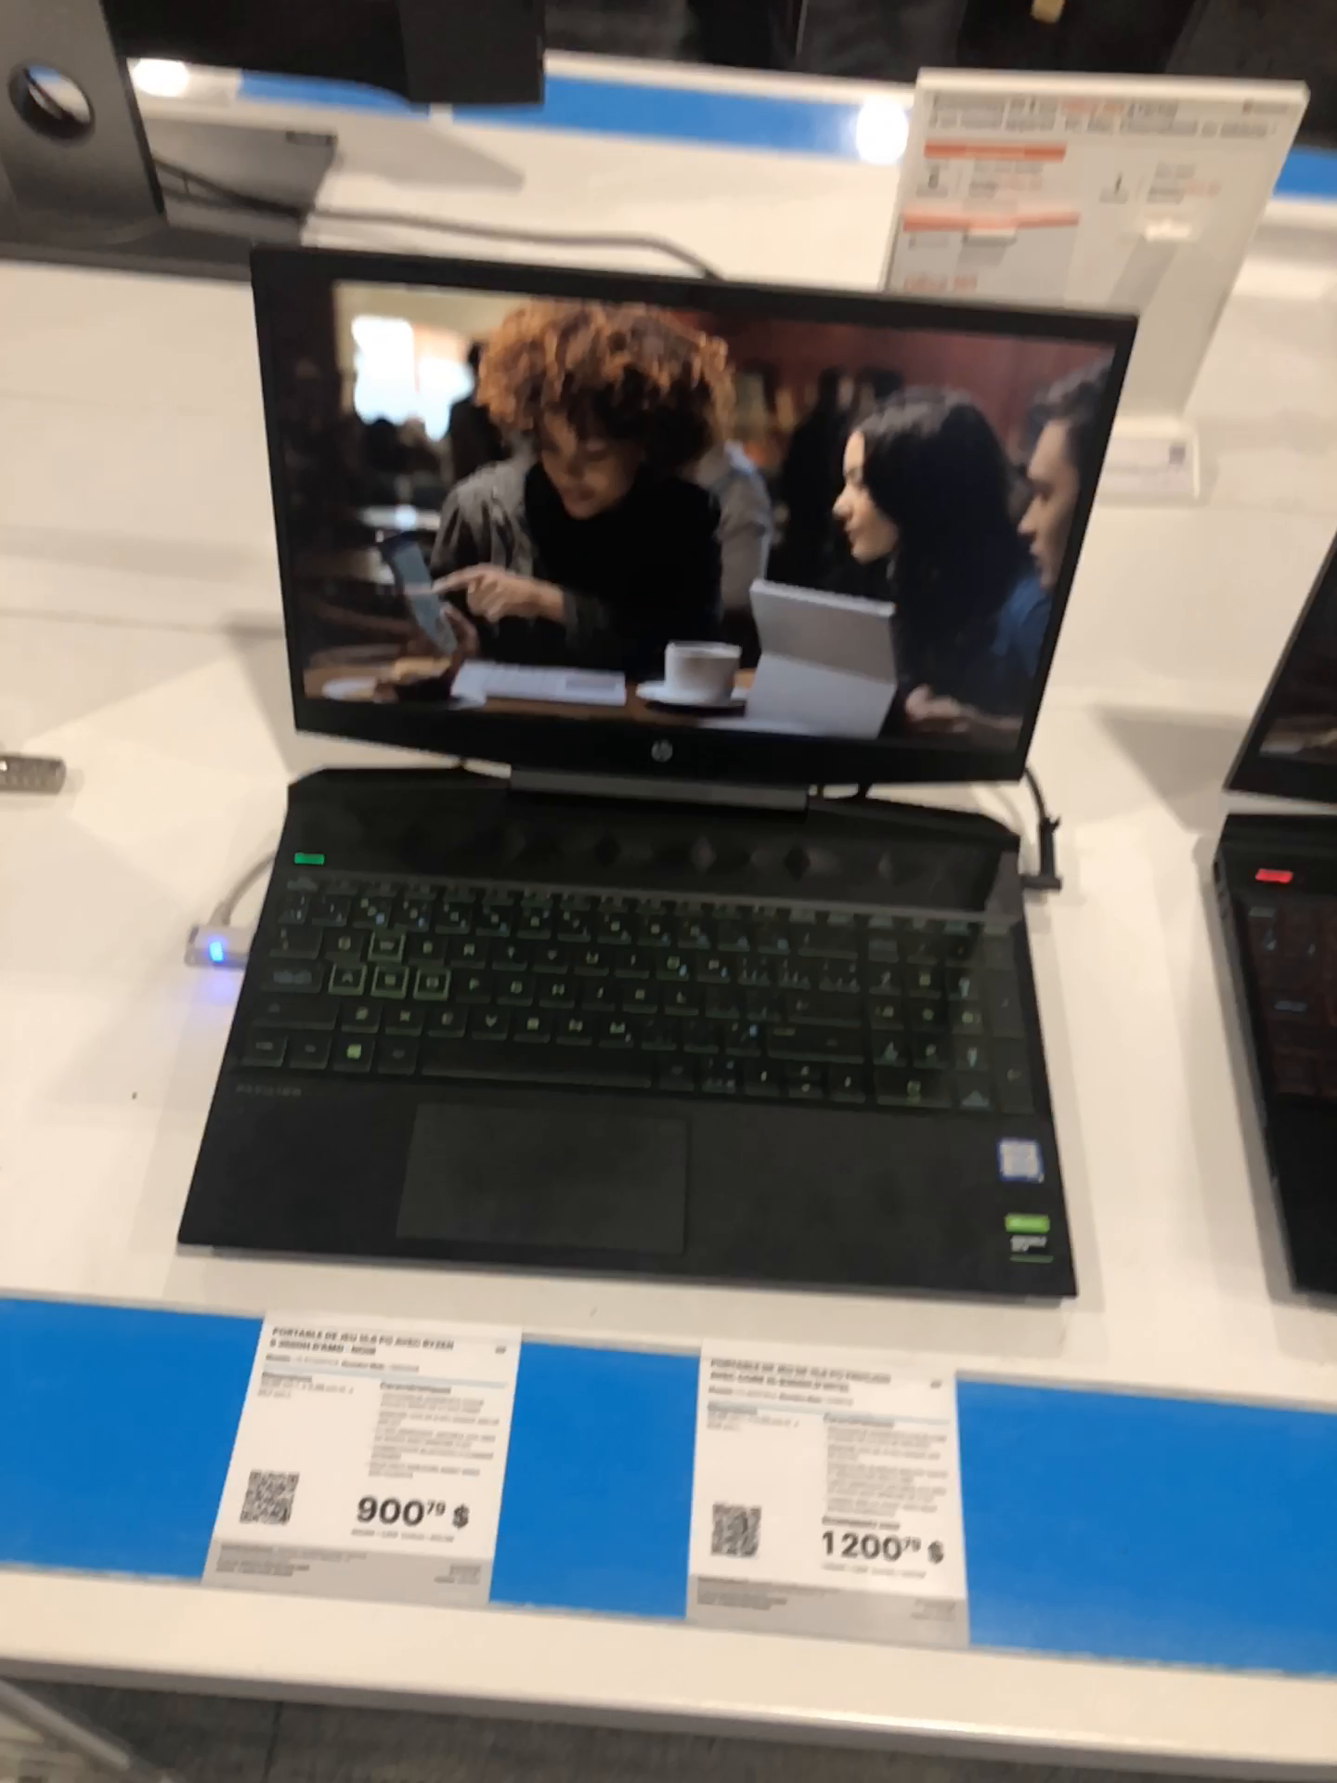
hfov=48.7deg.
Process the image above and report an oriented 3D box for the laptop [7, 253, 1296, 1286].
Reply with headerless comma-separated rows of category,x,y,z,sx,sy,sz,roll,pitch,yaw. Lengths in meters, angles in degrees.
laptop,-0.004,-0.048,0.596,0.355,0.232,0.317,4,52,-3
